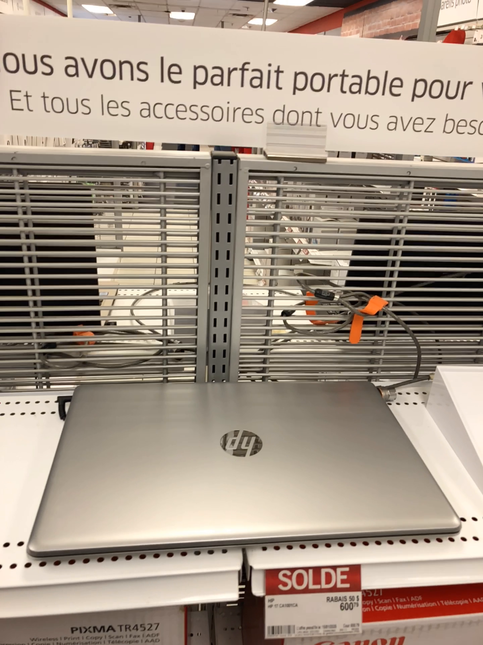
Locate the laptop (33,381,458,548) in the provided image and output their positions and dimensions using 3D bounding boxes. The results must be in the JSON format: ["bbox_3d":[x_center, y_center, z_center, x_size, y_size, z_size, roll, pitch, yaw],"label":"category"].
[{"bbox_3d":[-0.002,0.148,0.639,0.416,0.002,0.278,0,25,-7],"label":"laptop"}]
